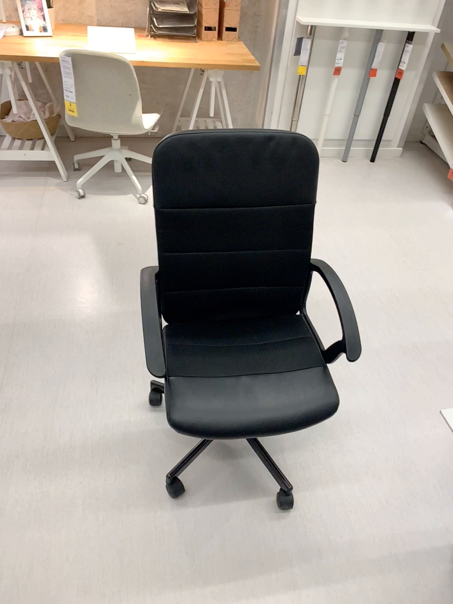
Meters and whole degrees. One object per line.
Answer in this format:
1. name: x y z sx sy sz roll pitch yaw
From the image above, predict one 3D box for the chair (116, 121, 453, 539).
1. chair: 0.049 0.103 1.296 0.610 0.996 0.582 -5 42 -13
